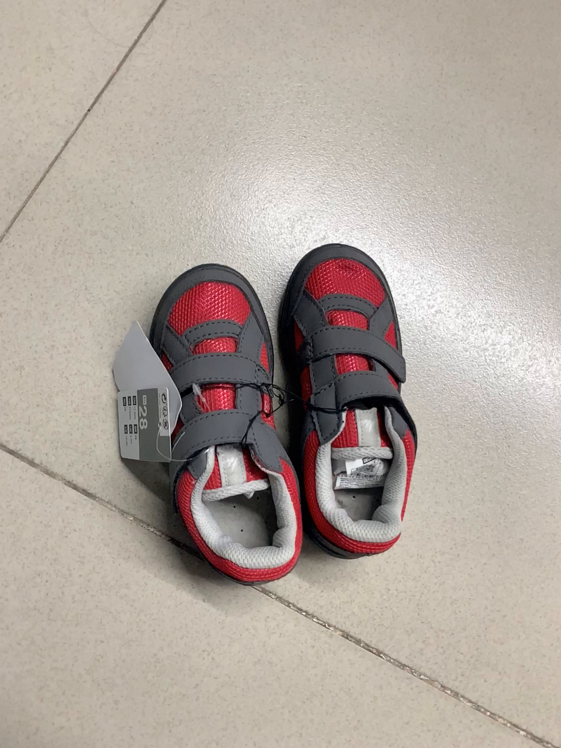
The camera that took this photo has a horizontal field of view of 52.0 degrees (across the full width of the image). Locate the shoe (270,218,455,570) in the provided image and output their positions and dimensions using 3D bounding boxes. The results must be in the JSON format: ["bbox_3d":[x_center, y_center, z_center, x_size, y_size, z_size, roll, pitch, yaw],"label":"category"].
[{"bbox_3d":[0.044,0.011,0.356,0.080,0.080,0.190,-3,84,-9],"label":"shoe"}]

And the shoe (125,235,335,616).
[{"bbox_3d":[-0.031,0.025,0.326,0.080,0.080,0.180,-8,85,-9],"label":"shoe"}]
